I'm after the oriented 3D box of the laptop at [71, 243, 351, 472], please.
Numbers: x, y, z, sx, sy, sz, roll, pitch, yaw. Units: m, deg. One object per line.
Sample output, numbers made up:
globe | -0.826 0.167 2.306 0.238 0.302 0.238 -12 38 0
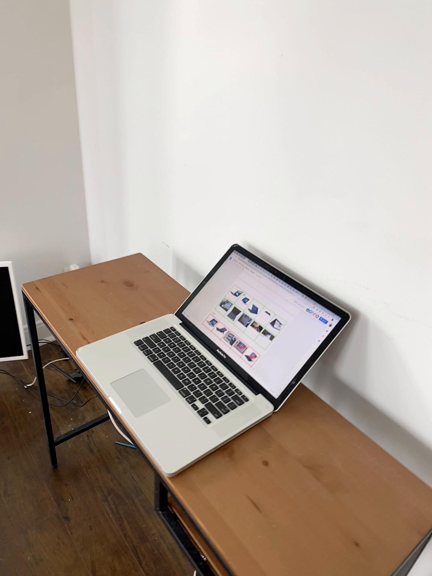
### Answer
laptop | -0.014 0.096 0.938 0.439 0.151 0.369 -20 41 -34
